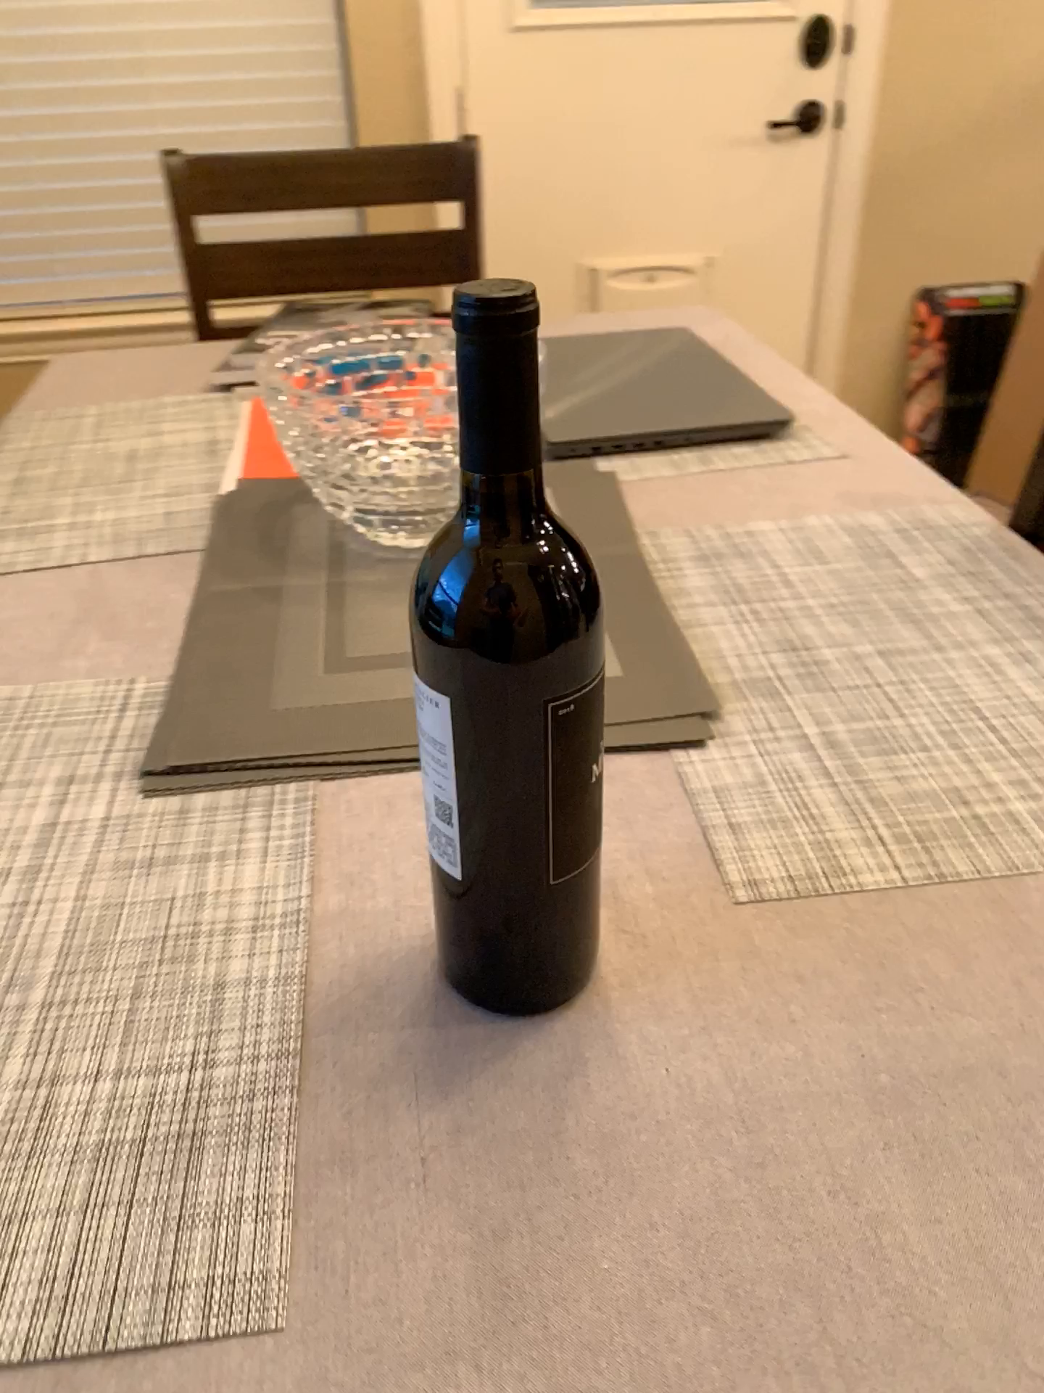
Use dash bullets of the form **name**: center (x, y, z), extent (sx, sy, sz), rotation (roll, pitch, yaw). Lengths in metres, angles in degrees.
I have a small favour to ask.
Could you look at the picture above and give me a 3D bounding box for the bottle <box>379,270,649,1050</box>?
- **bottle**: center (-0.002, 0.002, 0.440), extent (0.080, 0.314, 0.080), rotation (-1, 32, 1)
